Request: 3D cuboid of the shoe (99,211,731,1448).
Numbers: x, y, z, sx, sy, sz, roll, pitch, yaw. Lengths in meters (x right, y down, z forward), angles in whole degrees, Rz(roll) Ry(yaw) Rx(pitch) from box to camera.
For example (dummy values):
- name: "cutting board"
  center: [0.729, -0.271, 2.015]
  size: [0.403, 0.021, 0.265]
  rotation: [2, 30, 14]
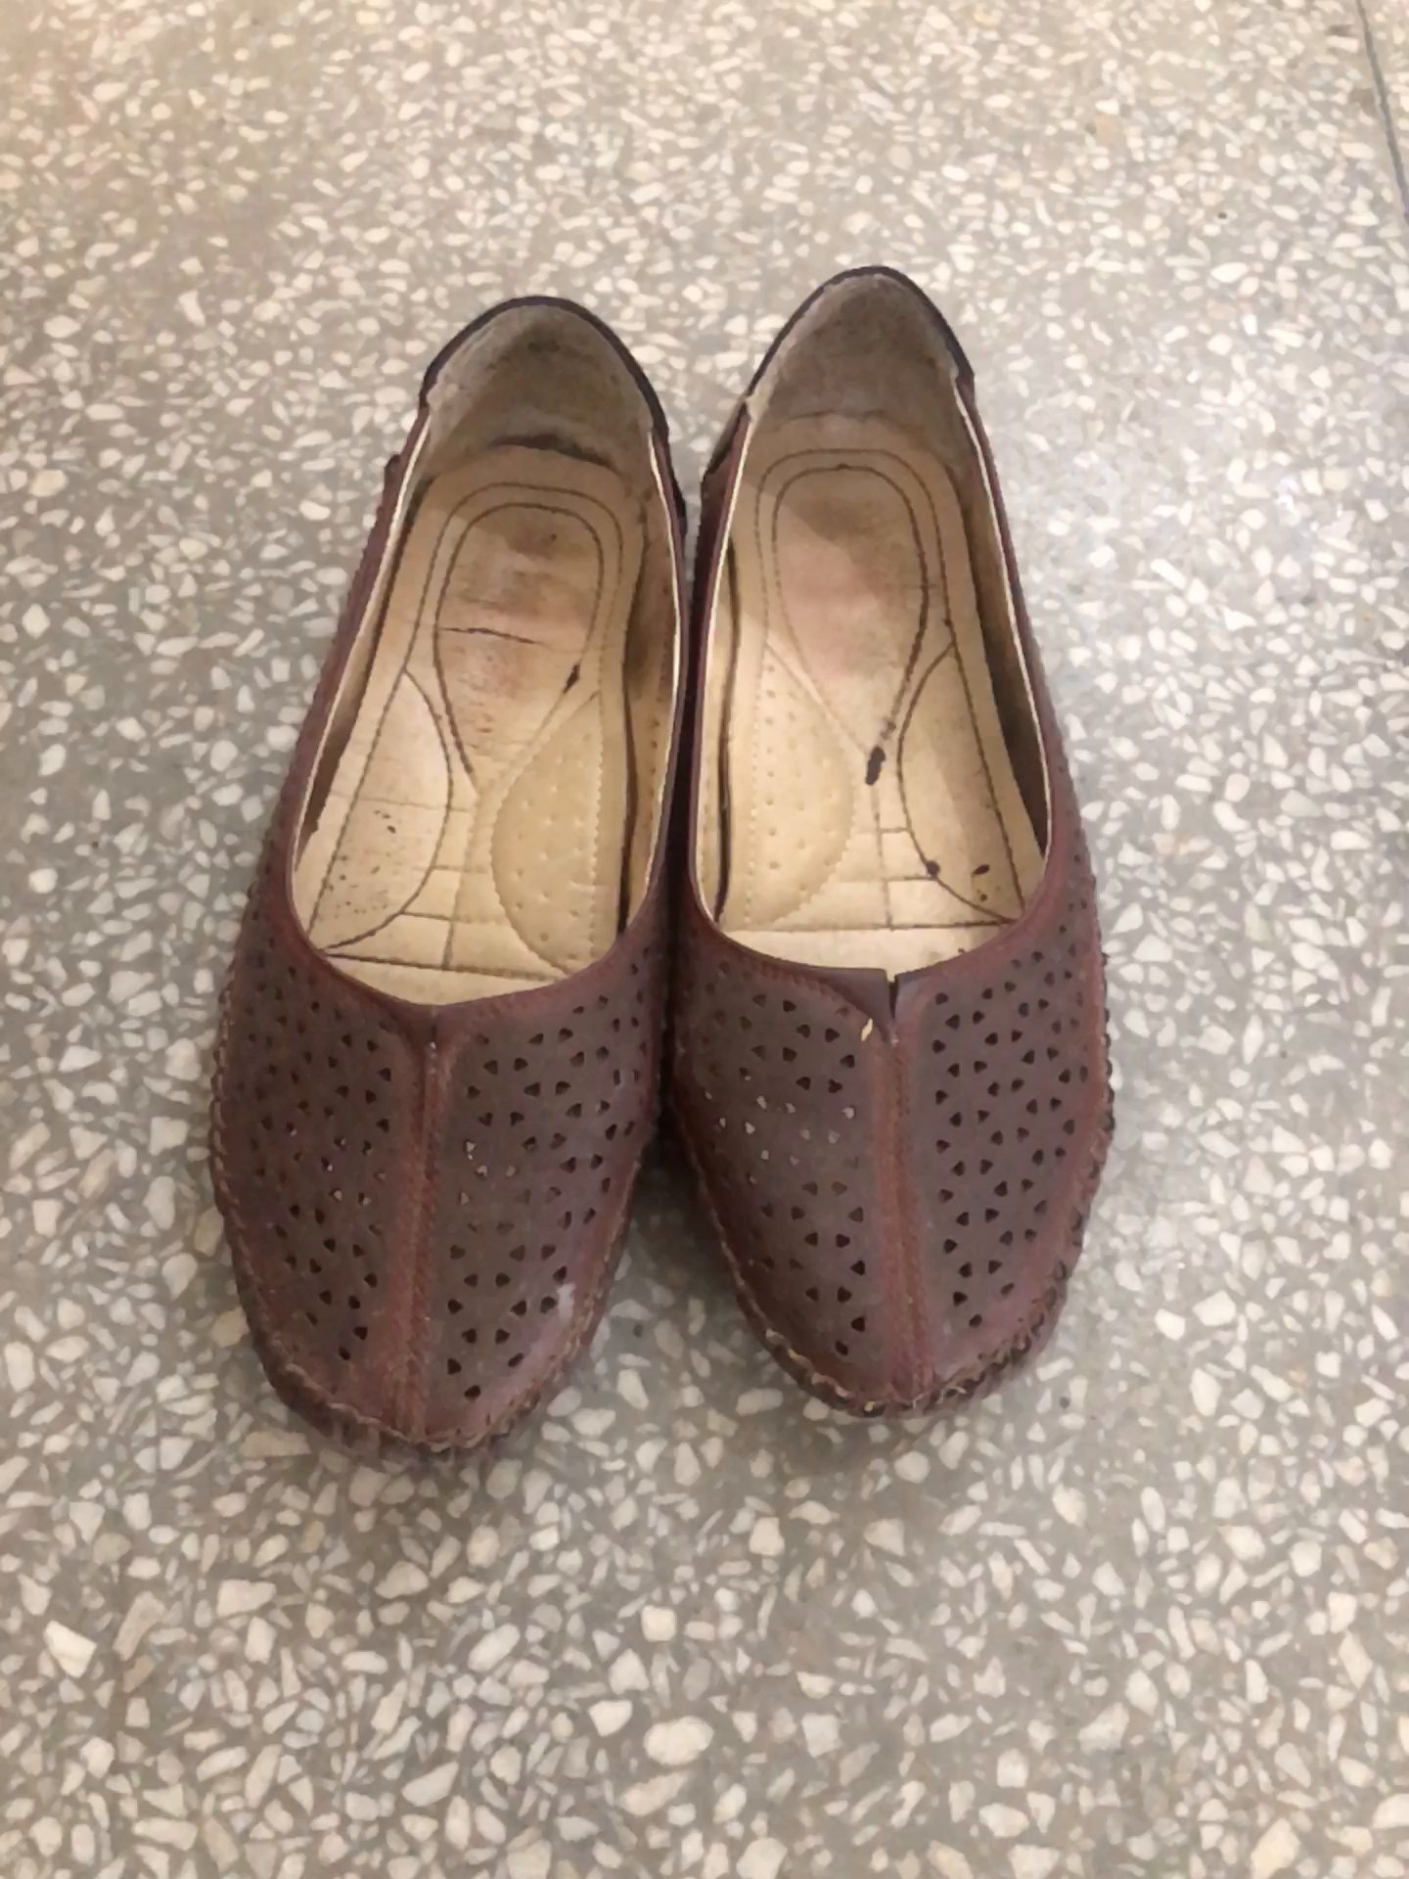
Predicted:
- name: "shoe"
  center: [-0.046, -0.031, 0.324]
  size: [0.090, 0.060, 0.250]
  rotation: [3, 66, -1]

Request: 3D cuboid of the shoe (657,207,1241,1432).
- name: "shoe"
  center: [0.036, -0.033, 0.323]
  size: [0.090, 0.060, 0.250]
  rotation: [0, 67, -3]
